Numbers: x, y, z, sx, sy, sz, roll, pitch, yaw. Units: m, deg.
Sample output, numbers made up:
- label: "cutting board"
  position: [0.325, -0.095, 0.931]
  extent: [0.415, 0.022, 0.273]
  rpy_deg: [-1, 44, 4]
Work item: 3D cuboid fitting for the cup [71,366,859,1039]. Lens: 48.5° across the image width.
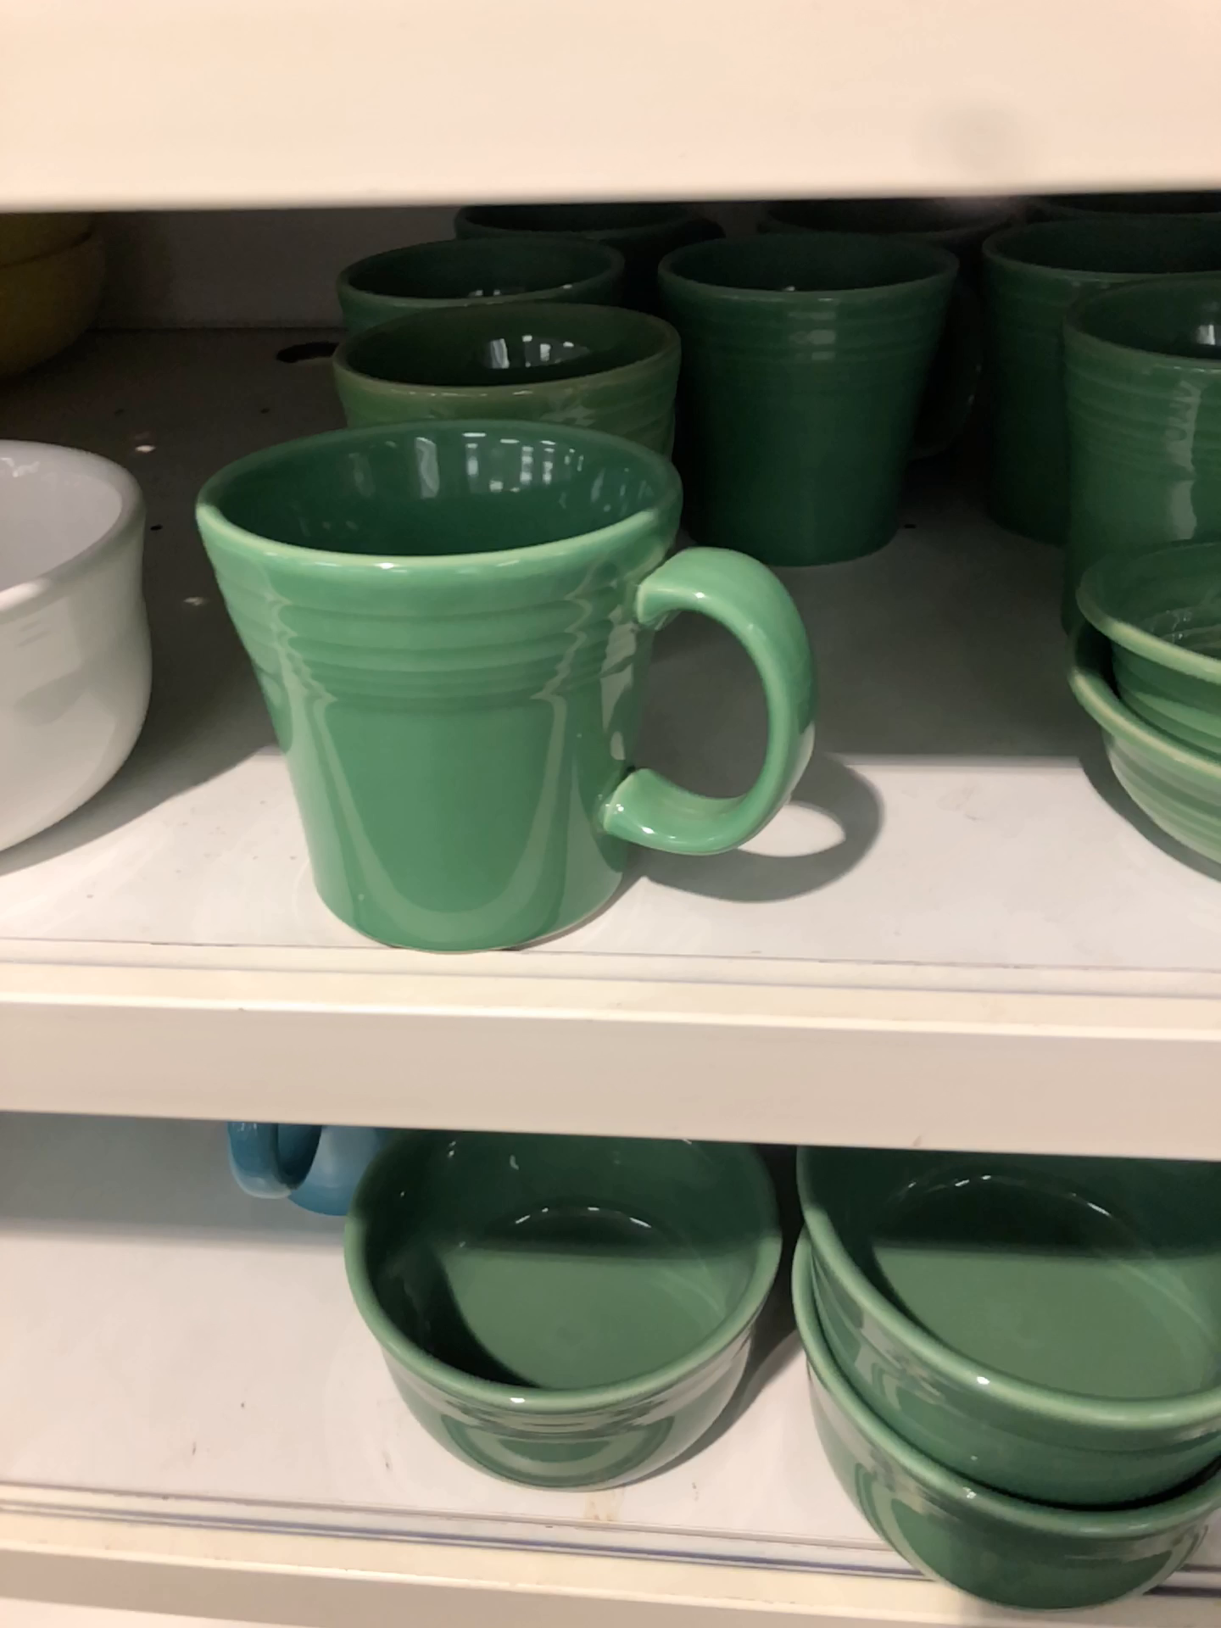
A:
- label: "cup"
  position: [-0.023, -0.034, 0.314]
  extent: [0.134, 0.098, 0.107]
  rpy_deg: [10, 36, 17]
